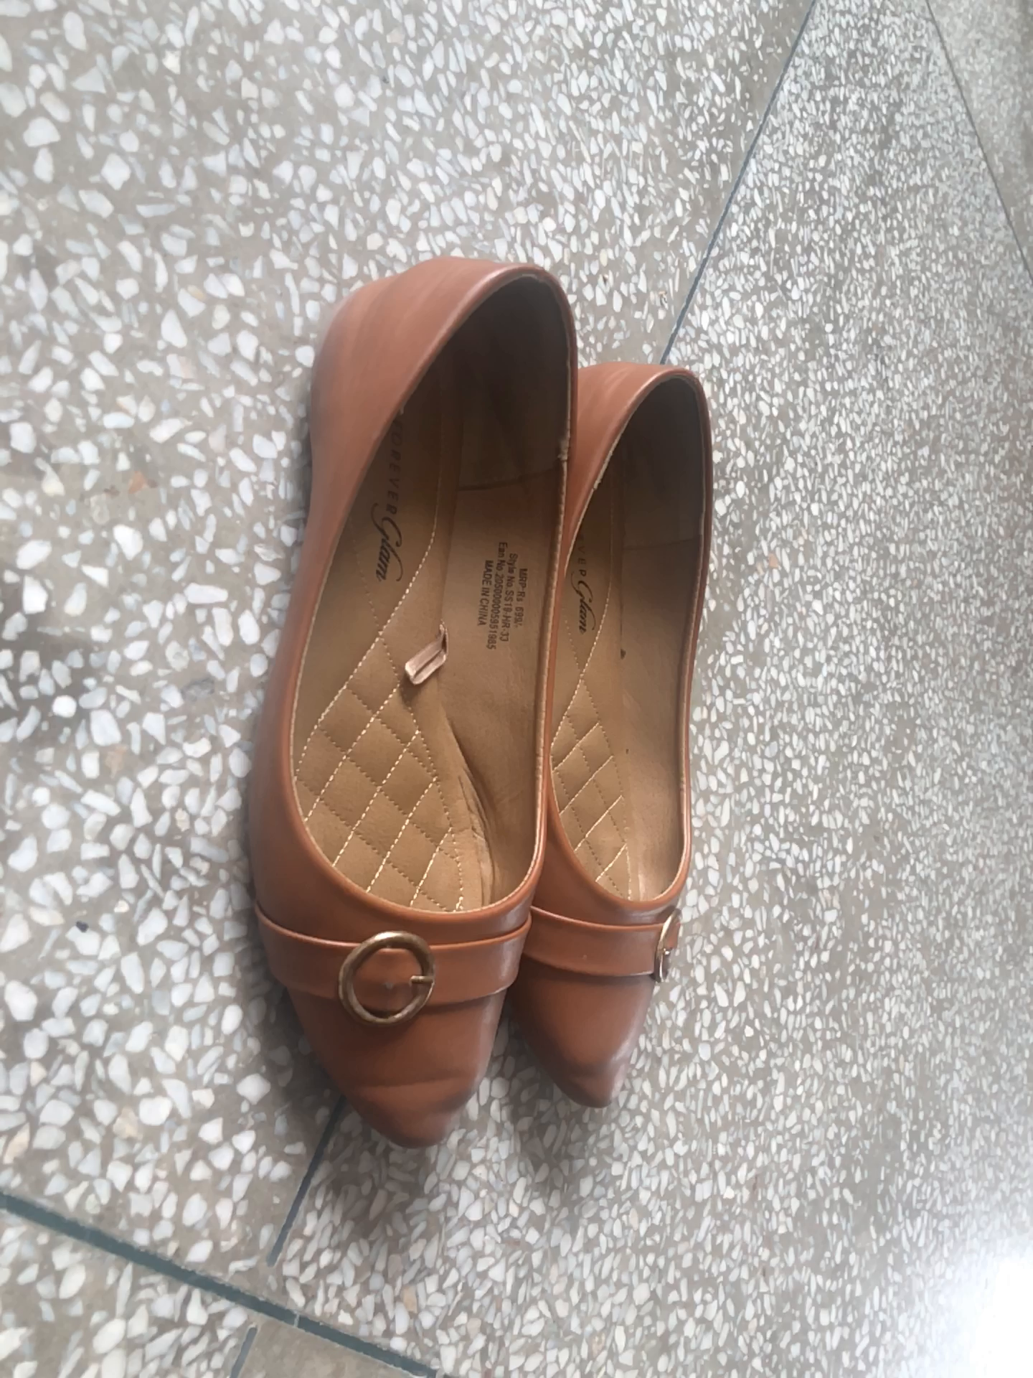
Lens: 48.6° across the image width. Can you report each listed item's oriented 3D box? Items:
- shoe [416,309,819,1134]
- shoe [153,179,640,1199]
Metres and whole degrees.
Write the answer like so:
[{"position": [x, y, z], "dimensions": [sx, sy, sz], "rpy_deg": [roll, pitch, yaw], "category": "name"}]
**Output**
[{"position": [0.035, 0.012, 0.390], "dimensions": [0.090, 0.050, 0.250], "rpy_deg": [5, 96, -43], "category": "shoe"}, {"position": [-0.034, 0.003, 0.325], "dimensions": [0.090, 0.050, 0.250], "rpy_deg": [5, 96, -43], "category": "shoe"}]
